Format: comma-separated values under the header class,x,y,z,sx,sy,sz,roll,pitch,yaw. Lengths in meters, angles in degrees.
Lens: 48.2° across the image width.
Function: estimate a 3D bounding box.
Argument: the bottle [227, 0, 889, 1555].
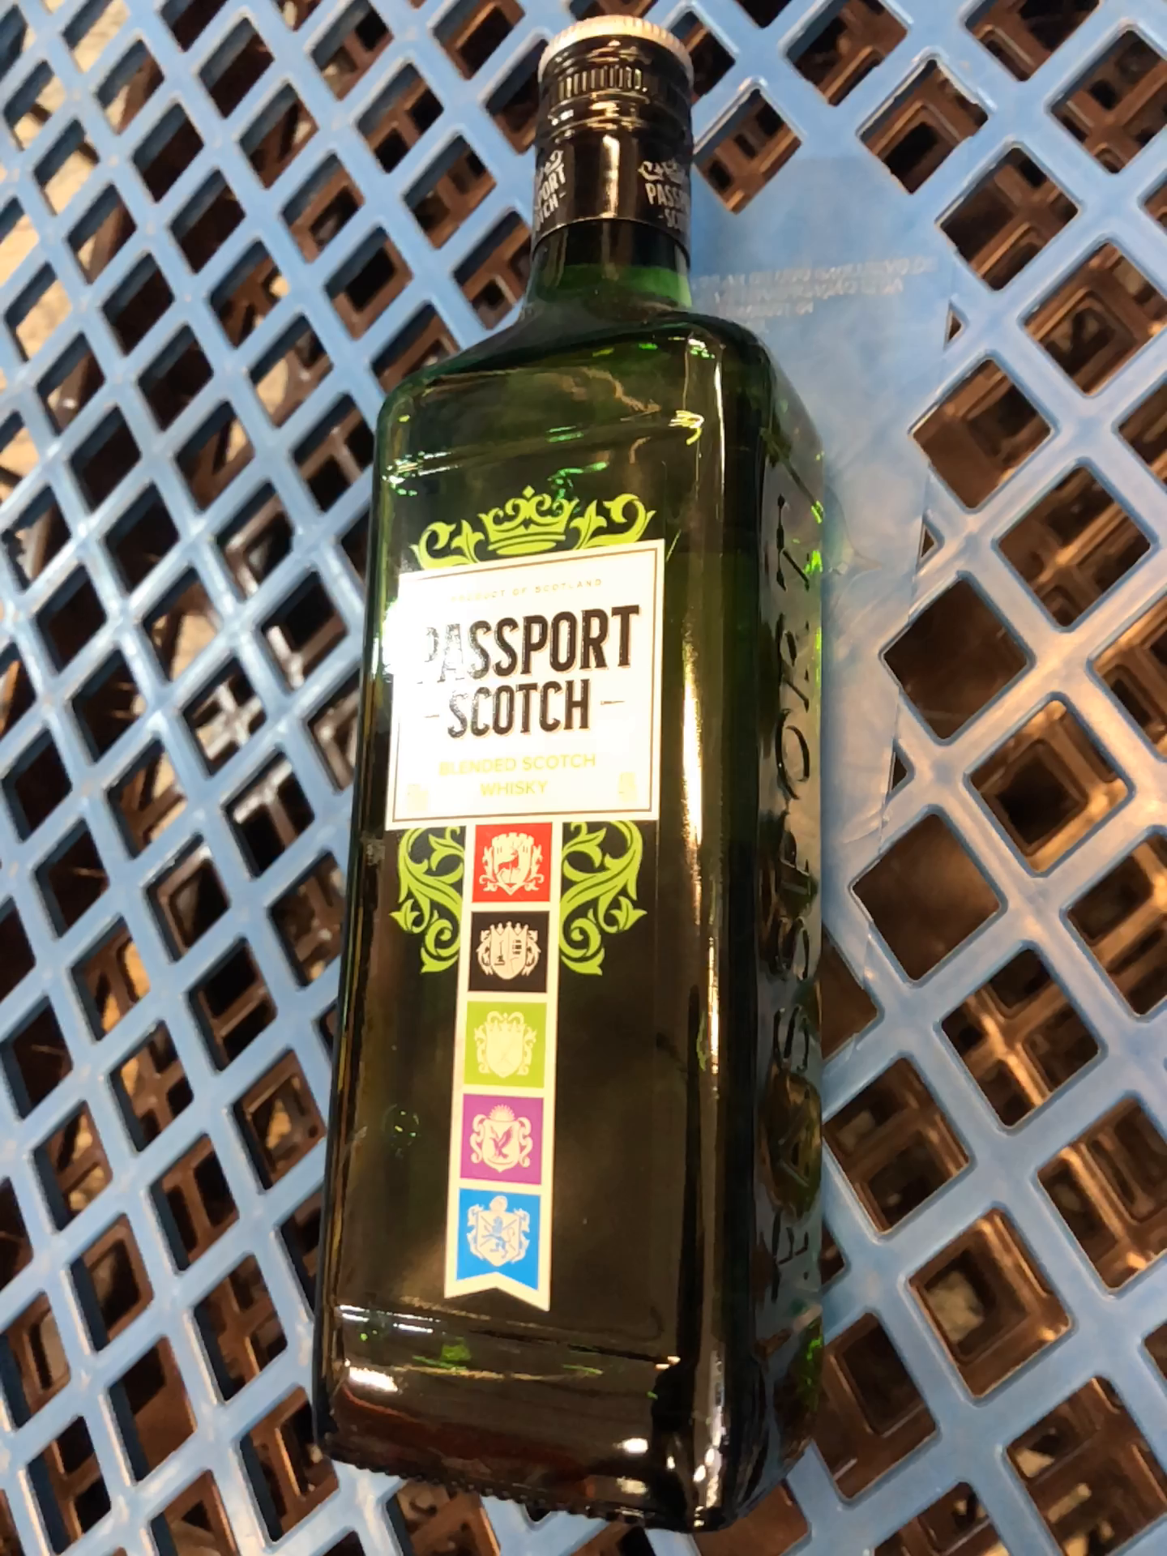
class,x,y,z,sx,sy,sz,roll,pitch,yaw
bottle,0.003,-0.029,0.230,0.080,0.070,0.280,-4,78,27
